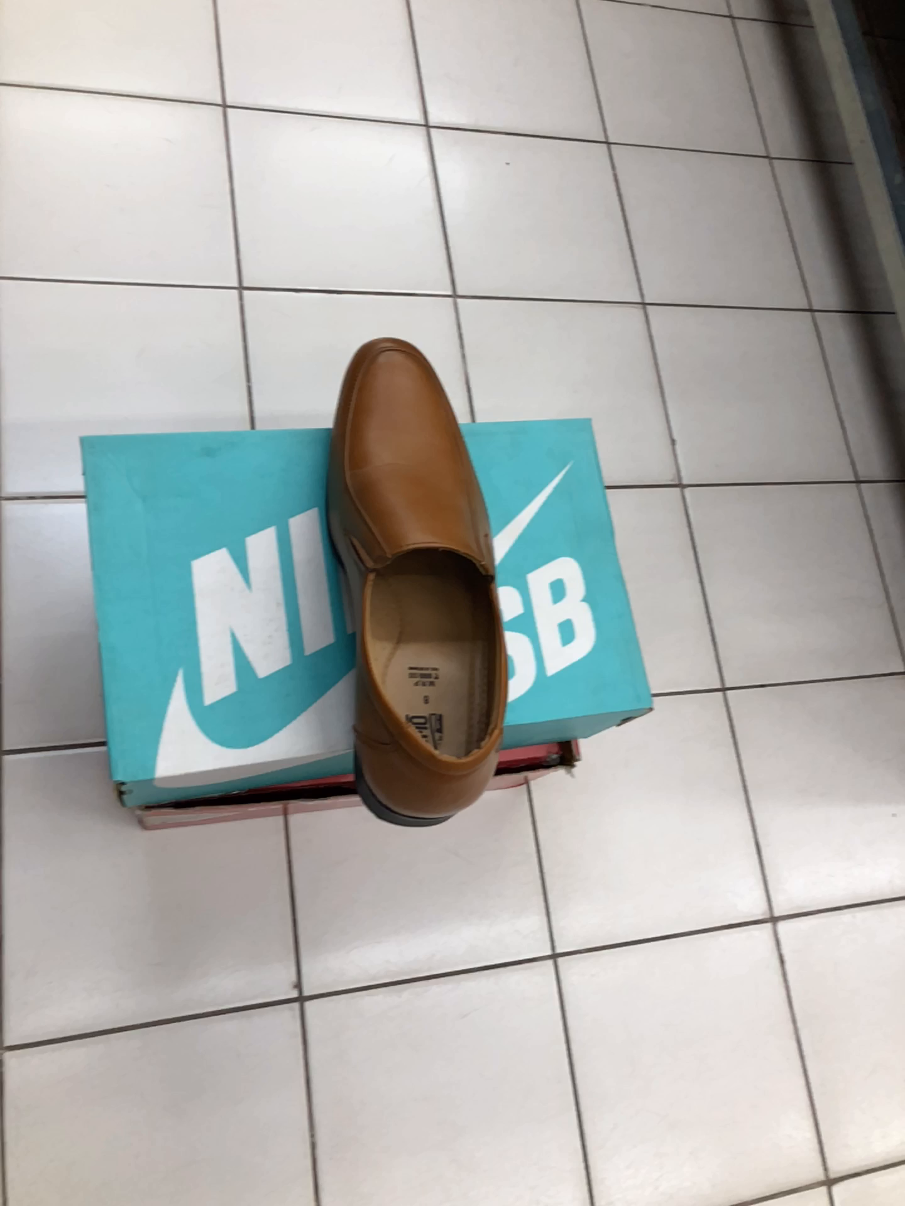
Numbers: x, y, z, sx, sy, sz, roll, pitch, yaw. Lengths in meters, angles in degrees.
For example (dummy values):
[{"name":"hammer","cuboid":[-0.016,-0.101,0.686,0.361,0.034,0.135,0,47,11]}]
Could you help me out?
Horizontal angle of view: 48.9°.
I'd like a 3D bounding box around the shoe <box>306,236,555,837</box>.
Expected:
[{"name":"shoe","cuboid":[-0.022,-0.036,0.552,0.090,0.100,0.311,0,72,-16]}]
